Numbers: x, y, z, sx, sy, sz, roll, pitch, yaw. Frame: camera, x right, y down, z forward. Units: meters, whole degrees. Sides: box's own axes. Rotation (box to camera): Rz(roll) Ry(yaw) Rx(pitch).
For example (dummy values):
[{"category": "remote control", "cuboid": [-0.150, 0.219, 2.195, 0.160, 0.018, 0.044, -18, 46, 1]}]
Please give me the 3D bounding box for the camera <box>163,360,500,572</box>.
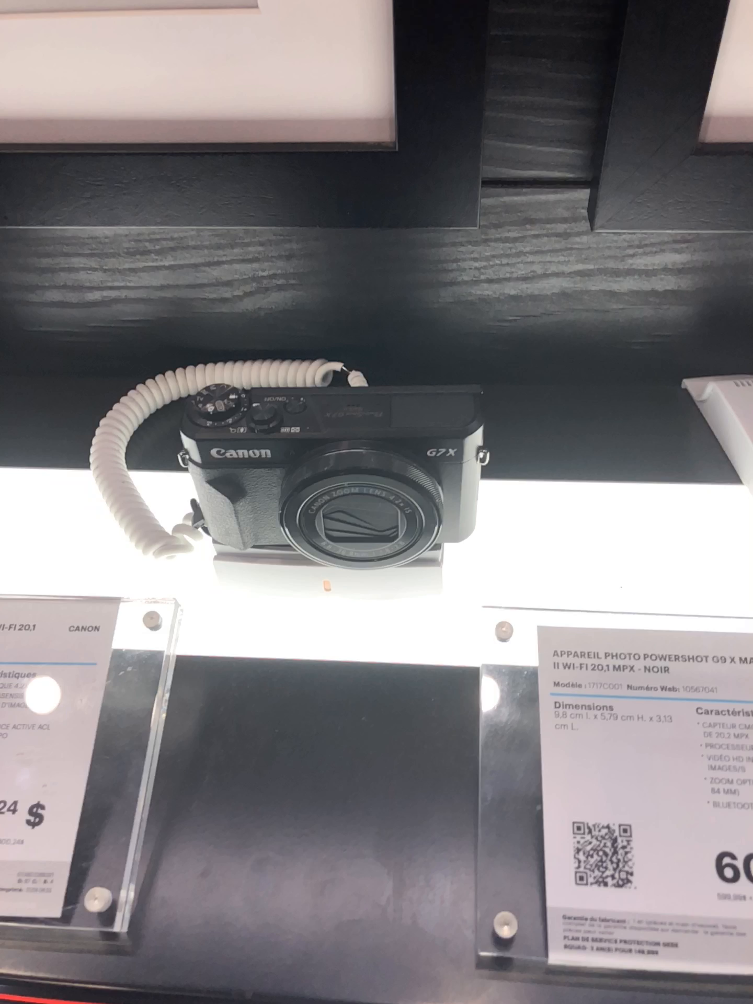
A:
[{"category": "camera", "cuboid": [-0.013, -0.011, 0.311, 0.110, 0.079, 0.030, 0, 46, 3]}]
